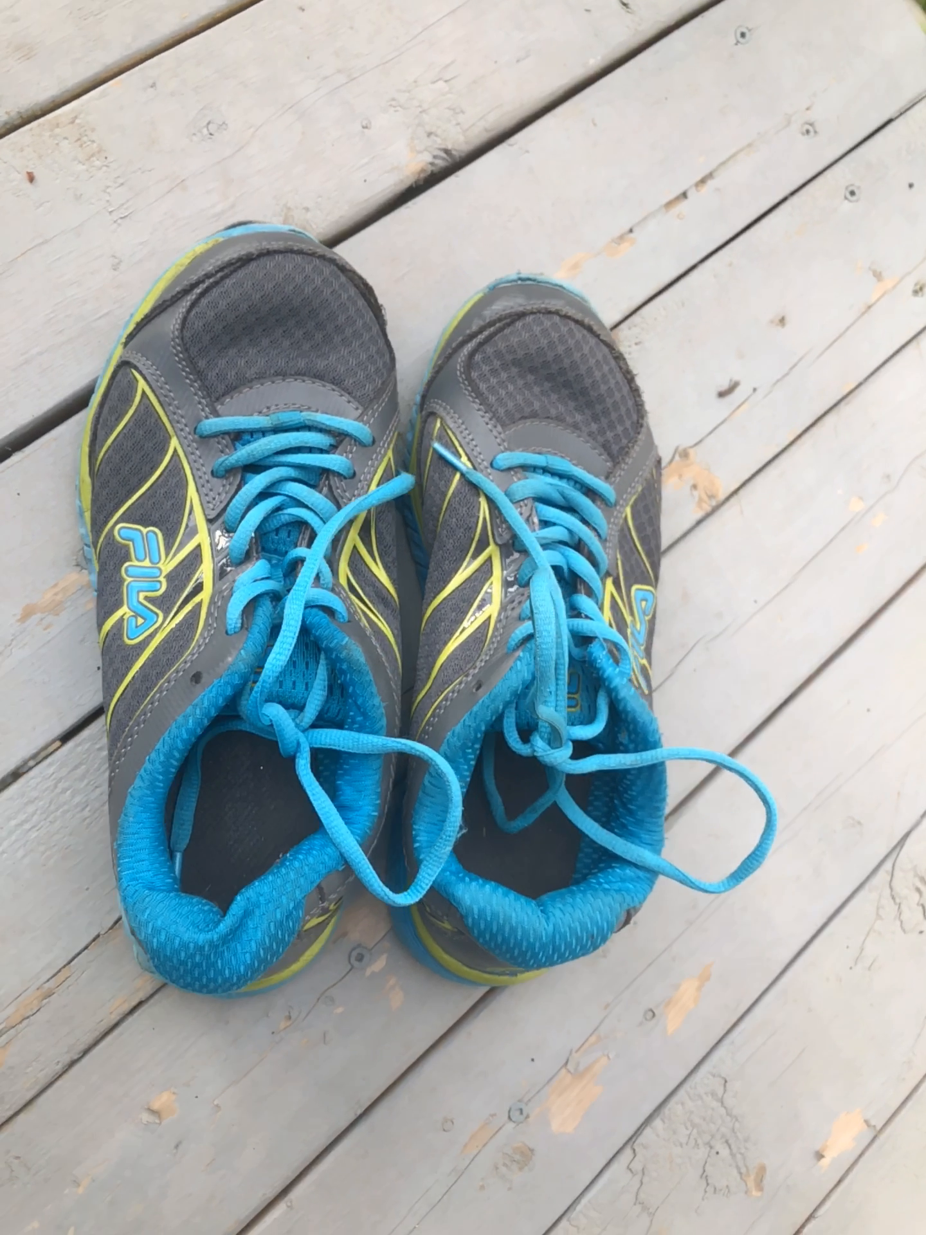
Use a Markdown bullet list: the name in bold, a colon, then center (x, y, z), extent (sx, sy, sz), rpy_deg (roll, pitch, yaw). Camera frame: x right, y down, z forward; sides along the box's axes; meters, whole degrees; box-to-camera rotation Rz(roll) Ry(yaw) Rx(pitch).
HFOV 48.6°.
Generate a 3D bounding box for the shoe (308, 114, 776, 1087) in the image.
- **shoe**: center (0.023, -0.002, 0.350), extent (0.110, 0.090, 0.280), rpy_deg (7, 84, -15)

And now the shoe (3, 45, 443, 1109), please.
- **shoe**: center (-0.080, -0.010, 0.355), extent (0.110, 0.130, 0.290), rpy_deg (3, 86, -15)
